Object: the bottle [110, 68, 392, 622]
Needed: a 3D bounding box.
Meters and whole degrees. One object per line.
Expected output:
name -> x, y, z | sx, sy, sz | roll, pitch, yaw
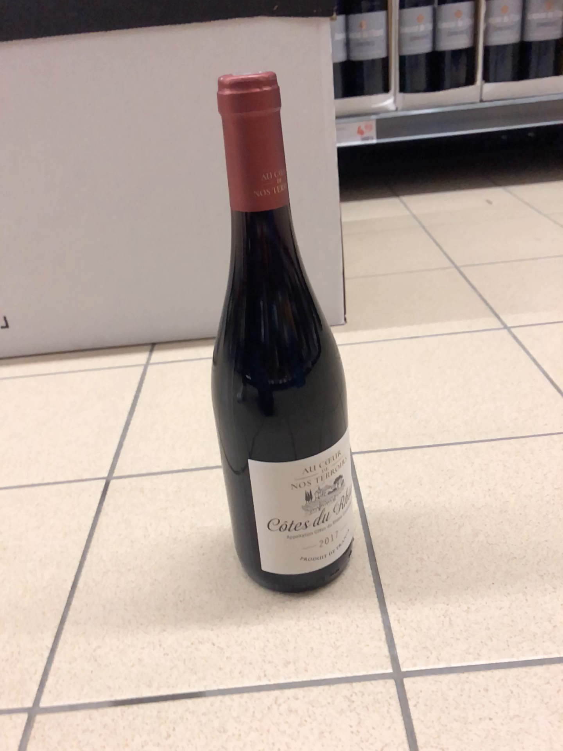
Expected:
bottle -> -0.006, -0.012, 0.336 | 0.090, 0.269, 0.090 | -5, 28, 3
